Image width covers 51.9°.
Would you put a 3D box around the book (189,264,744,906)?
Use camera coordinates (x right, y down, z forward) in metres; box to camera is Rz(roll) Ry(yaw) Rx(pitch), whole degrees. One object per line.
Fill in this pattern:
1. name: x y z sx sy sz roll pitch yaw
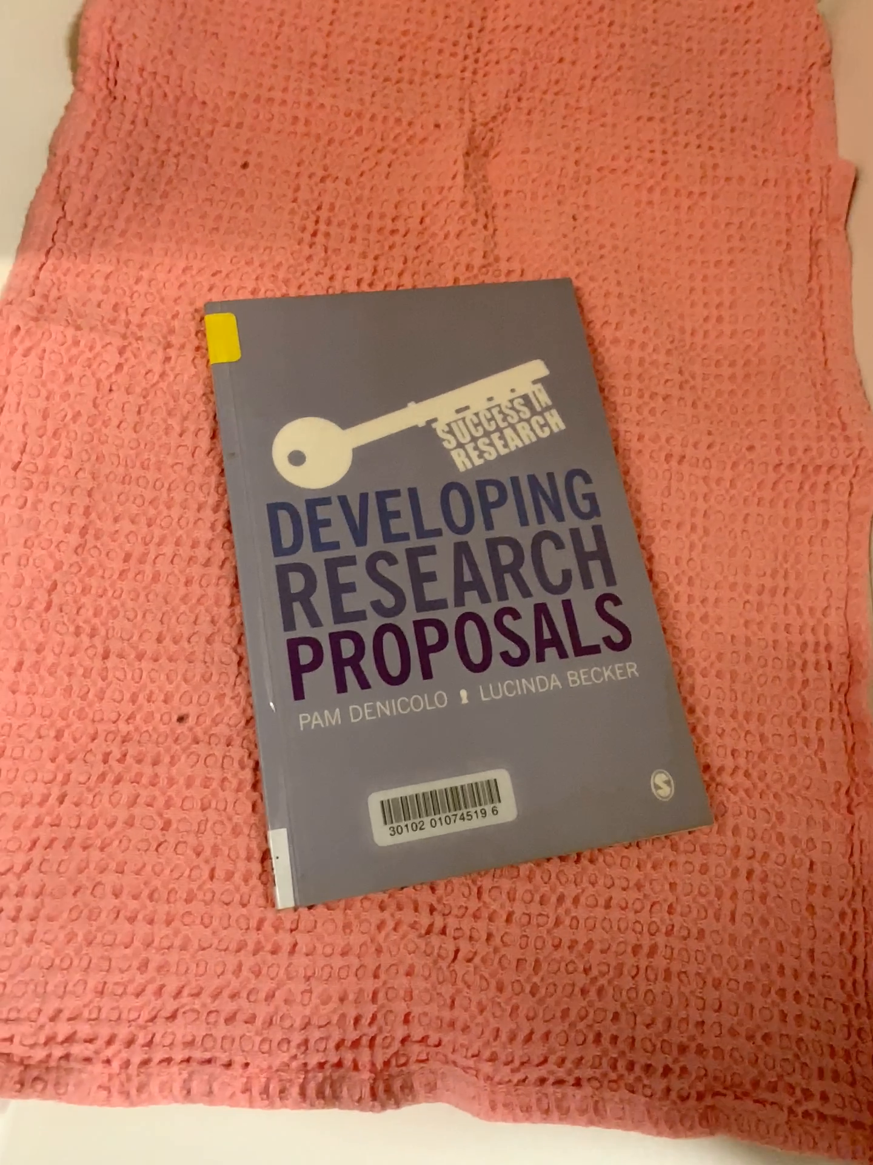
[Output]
1. book: 0.005 -0.015 0.342 0.165 0.015 0.231 -8 72 -12
